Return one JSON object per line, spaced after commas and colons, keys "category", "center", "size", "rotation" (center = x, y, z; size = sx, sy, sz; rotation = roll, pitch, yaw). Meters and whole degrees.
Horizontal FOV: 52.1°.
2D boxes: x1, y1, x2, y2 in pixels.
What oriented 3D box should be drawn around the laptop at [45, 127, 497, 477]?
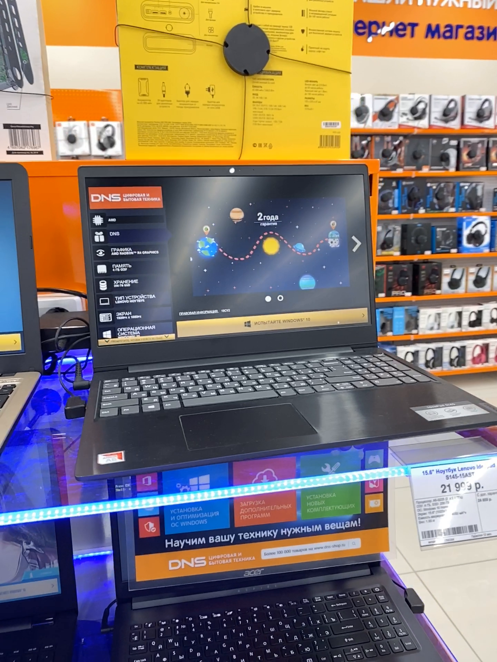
{"category": "laptop", "center": [0.017, -0.058, 0.516], "size": [0.358, 0.233, 0.298], "rotation": [-4, 13, -13]}
